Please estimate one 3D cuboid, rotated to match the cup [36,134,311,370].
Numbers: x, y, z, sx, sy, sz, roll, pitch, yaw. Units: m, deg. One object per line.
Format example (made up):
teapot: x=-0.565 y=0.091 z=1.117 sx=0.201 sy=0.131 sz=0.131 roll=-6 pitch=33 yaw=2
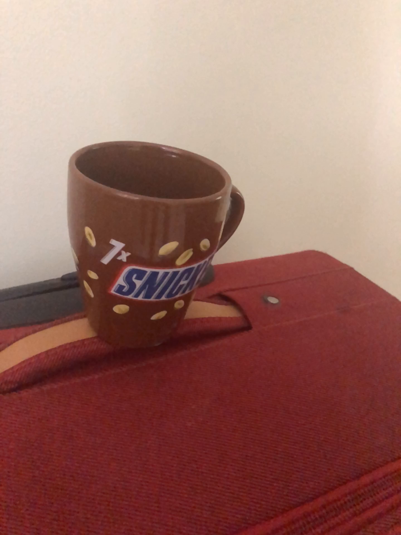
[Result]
cup: x=-0.019 y=-0.019 z=0.252 sx=0.115 sy=0.080 sz=0.088 roll=-14 pitch=39 yaw=-30
